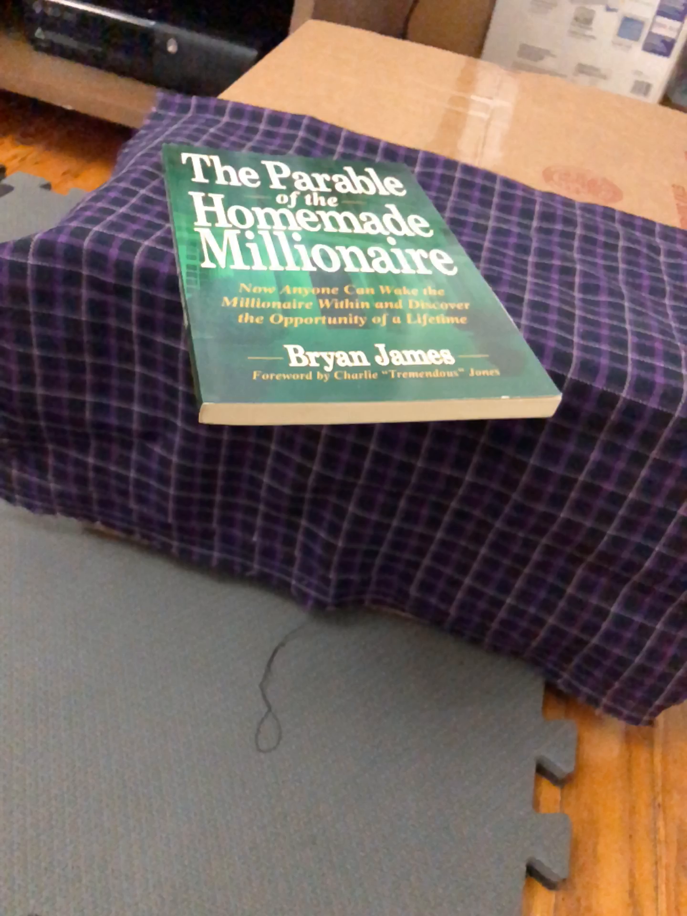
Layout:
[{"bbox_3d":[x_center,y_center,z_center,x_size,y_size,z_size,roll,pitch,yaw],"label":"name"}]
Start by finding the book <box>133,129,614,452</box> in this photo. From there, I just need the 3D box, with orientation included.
[{"bbox_3d":[-0.004,-0.086,0.334,0.160,0.020,0.211,-3,44,-16],"label":"book"}]
